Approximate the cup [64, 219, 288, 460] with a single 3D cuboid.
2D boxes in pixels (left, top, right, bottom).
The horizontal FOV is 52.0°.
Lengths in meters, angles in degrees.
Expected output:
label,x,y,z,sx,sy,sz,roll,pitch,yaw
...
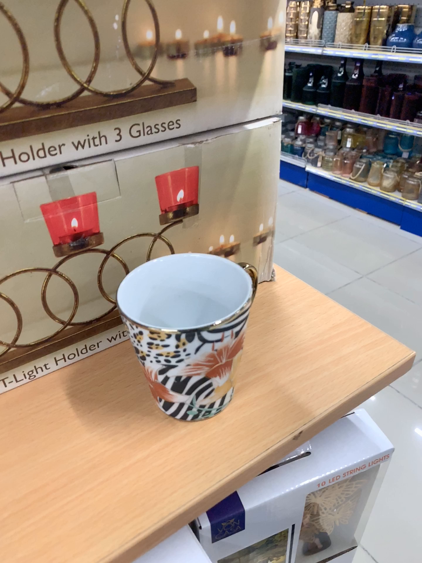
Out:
label,x,y,z,sx,sy,sz,roll,pitch,yaw
cup,-0.015,0.026,0.254,0.070,0.080,0.100,24,40,34
